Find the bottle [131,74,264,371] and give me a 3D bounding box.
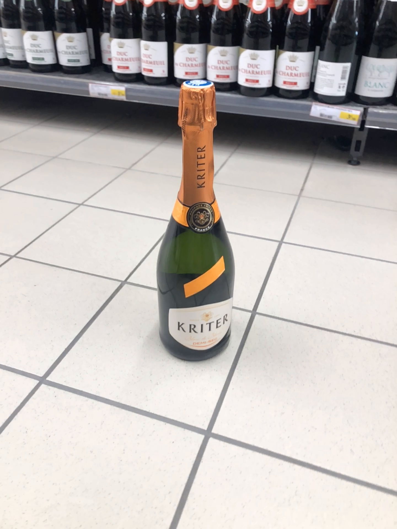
[{"bbox_3d":[-0.008,-0.037,0.489,0.100,0.308,0.100,1,32,-1],"label":"bottle"}]
